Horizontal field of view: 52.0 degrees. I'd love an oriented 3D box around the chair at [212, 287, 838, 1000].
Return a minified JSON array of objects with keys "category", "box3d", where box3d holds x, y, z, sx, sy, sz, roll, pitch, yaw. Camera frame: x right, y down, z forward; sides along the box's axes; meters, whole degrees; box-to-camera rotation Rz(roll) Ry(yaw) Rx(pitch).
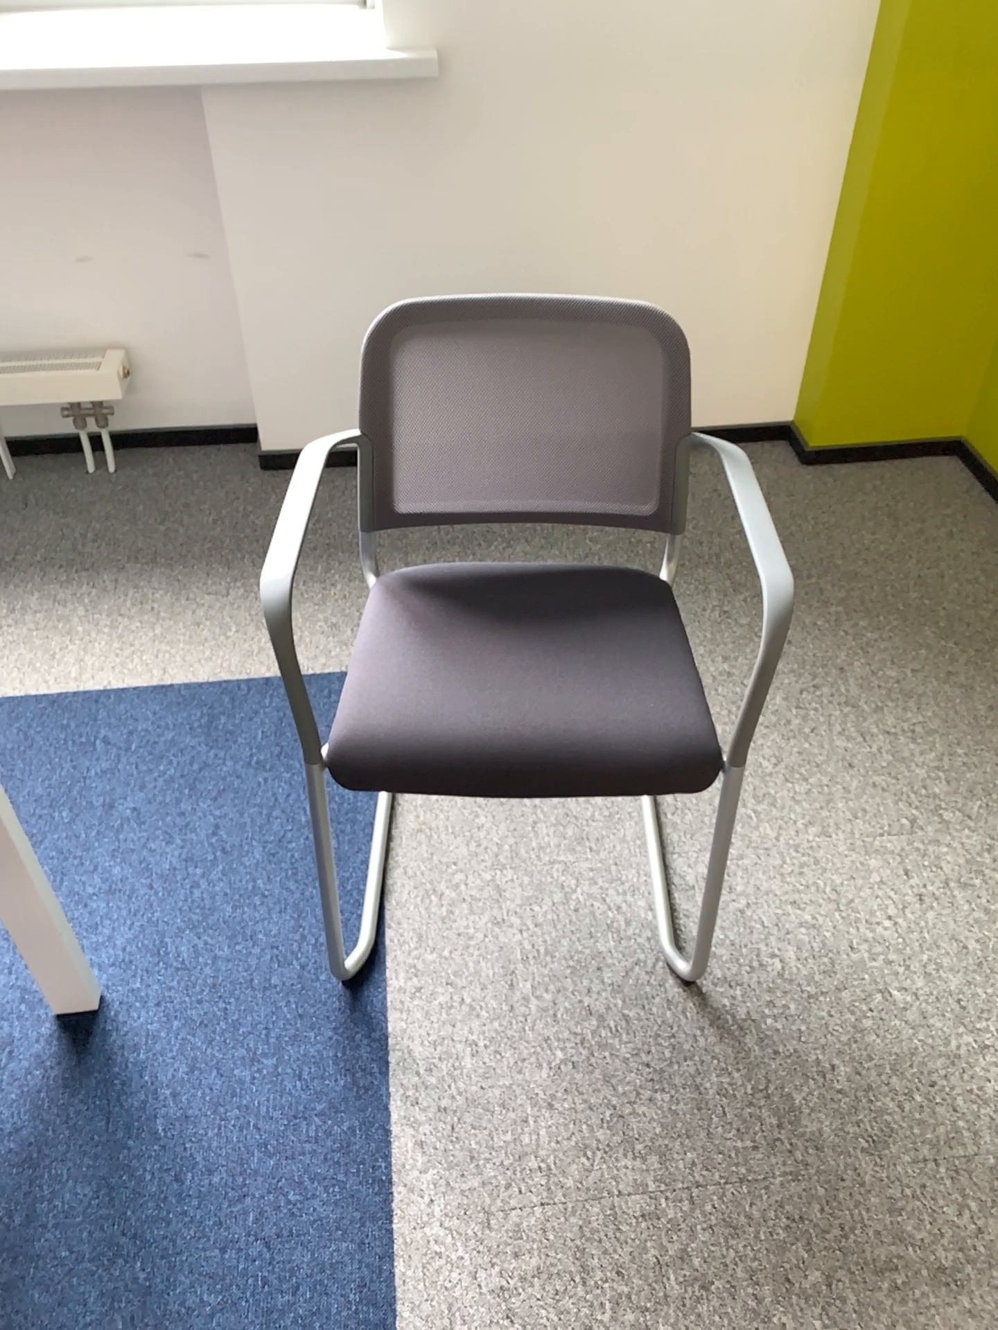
[{"category":"chair","box3d":[0.027,-0.017,1.302,0.530,0.726,0.523,1,40,1]}]
